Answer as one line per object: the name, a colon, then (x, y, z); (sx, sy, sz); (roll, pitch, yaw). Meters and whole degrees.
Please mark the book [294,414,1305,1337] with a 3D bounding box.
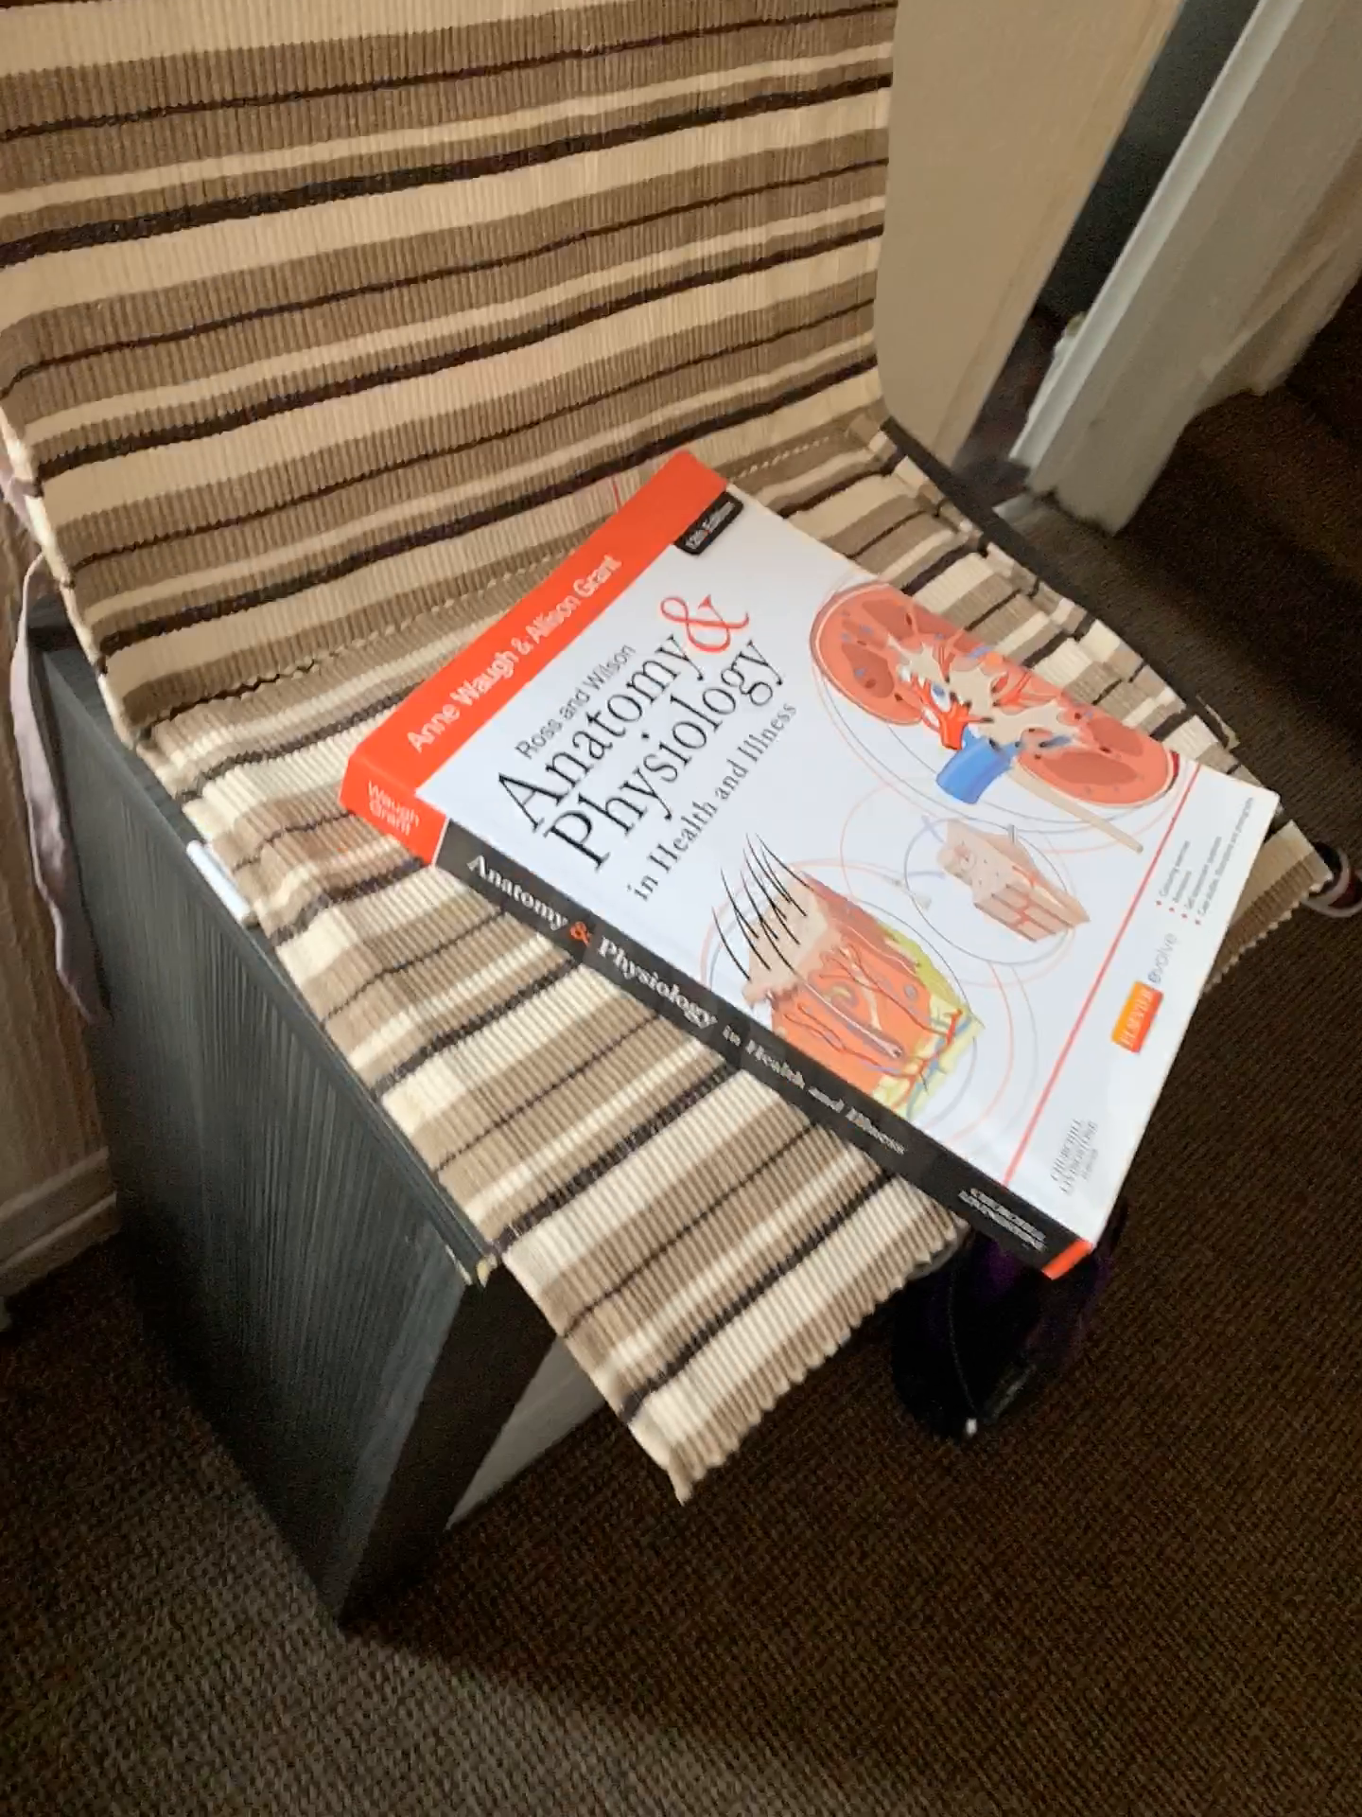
book: (0.056, -0.036, 0.488); (0.280, 0.040, 0.242); (33, 53, 7)
